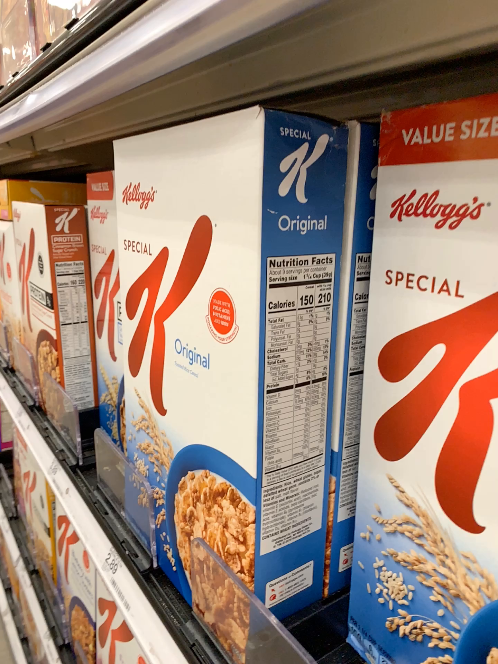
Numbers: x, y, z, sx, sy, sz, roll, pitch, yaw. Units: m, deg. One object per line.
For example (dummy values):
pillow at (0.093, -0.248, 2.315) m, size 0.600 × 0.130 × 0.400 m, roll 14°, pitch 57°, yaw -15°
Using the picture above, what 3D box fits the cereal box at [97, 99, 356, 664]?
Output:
cereal box at (-0.033, 0.035, 0.342) m, size 0.060 × 0.319 × 0.191 m, roll -7°, pitch 16°, yaw -35°
